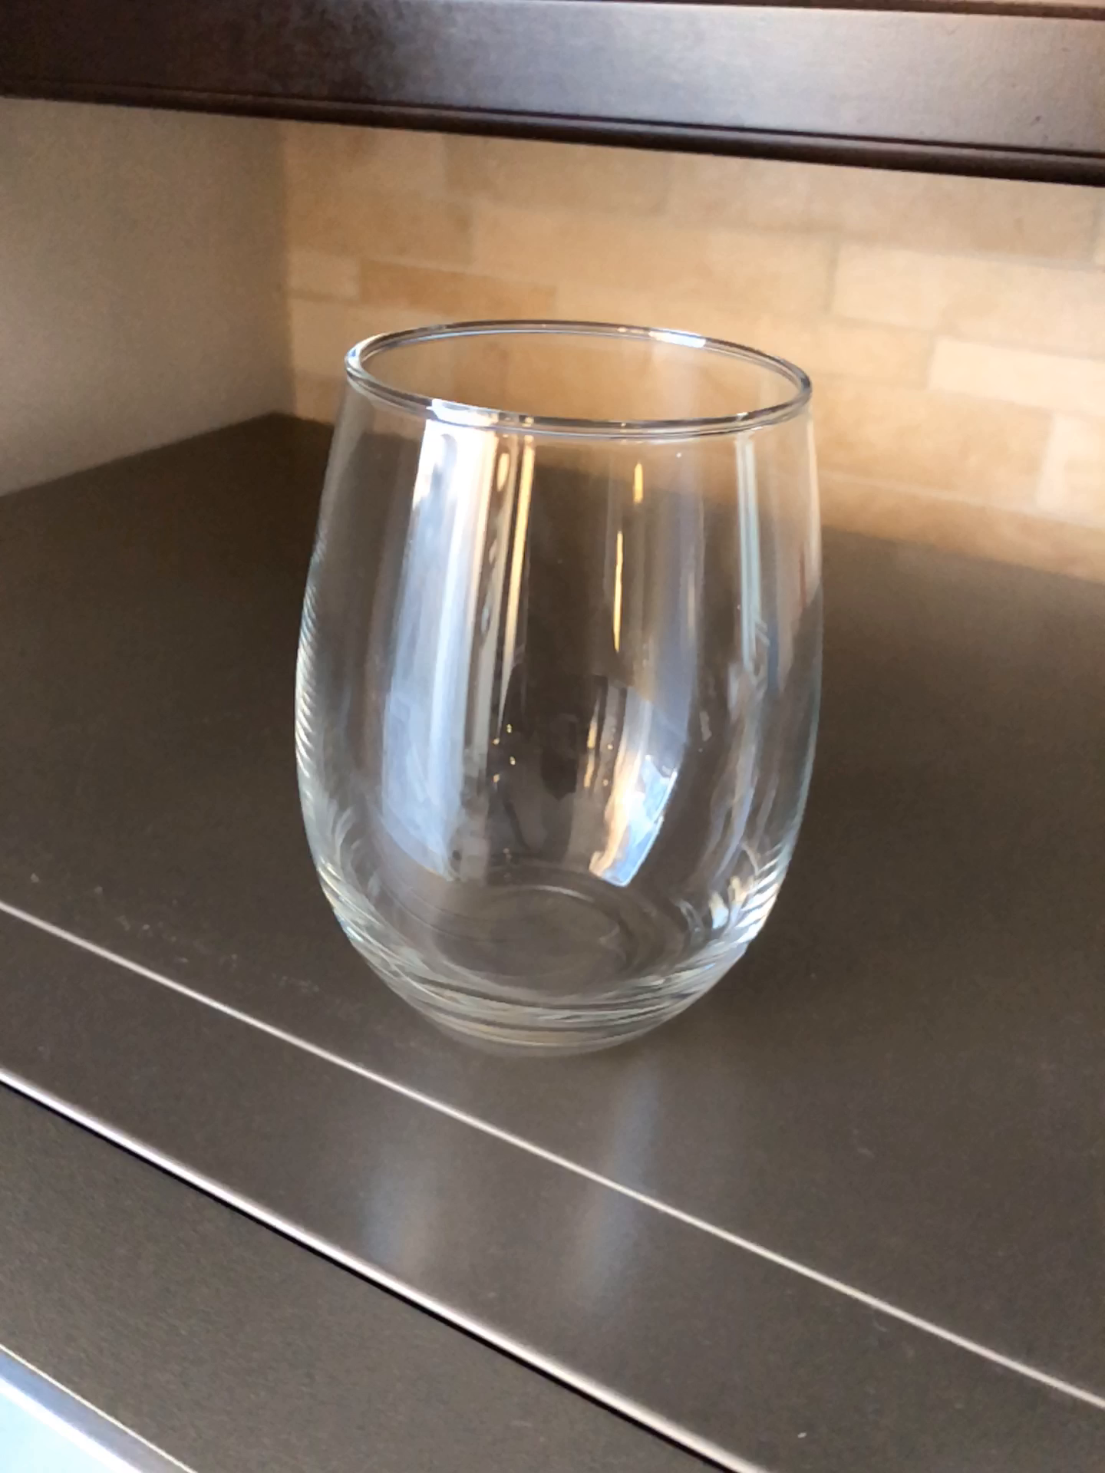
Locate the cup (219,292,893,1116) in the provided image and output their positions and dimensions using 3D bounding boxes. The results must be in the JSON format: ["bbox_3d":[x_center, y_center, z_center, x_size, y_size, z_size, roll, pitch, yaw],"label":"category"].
[{"bbox_3d":[0.004,-0.013,0.215,0.078,0.104,0.083,2,28,-1],"label":"cup"}]
